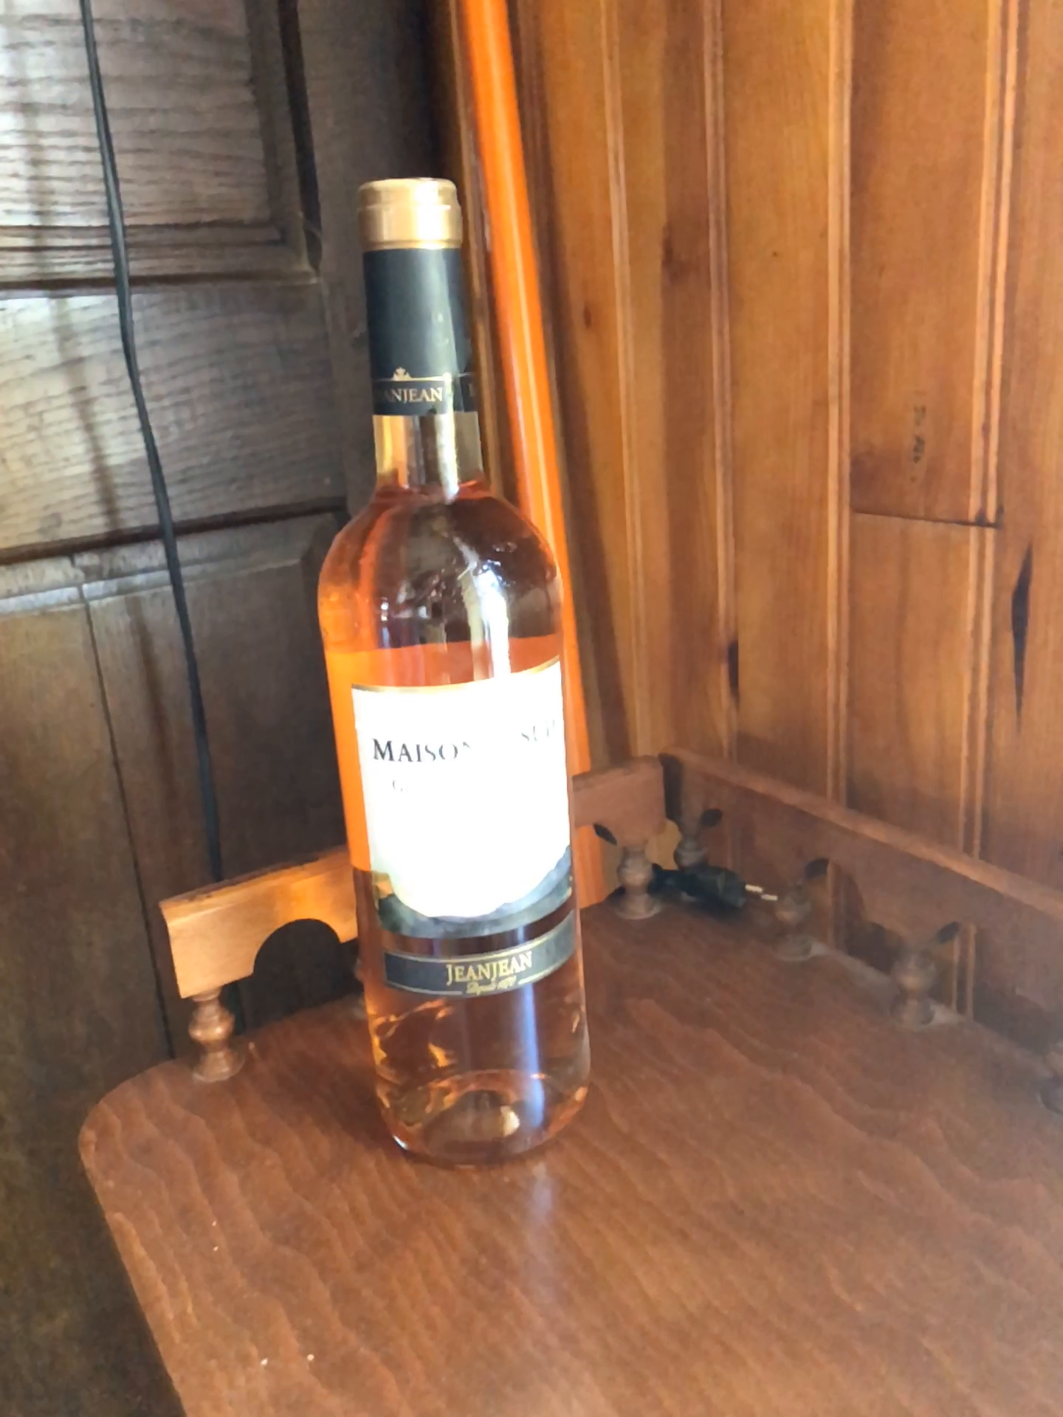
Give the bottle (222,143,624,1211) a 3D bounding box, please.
[{"bbox_3d":[-0.029,-0.003,0.348,0.080,0.289,0.070,-9,18,-13],"label":"bottle"}]
